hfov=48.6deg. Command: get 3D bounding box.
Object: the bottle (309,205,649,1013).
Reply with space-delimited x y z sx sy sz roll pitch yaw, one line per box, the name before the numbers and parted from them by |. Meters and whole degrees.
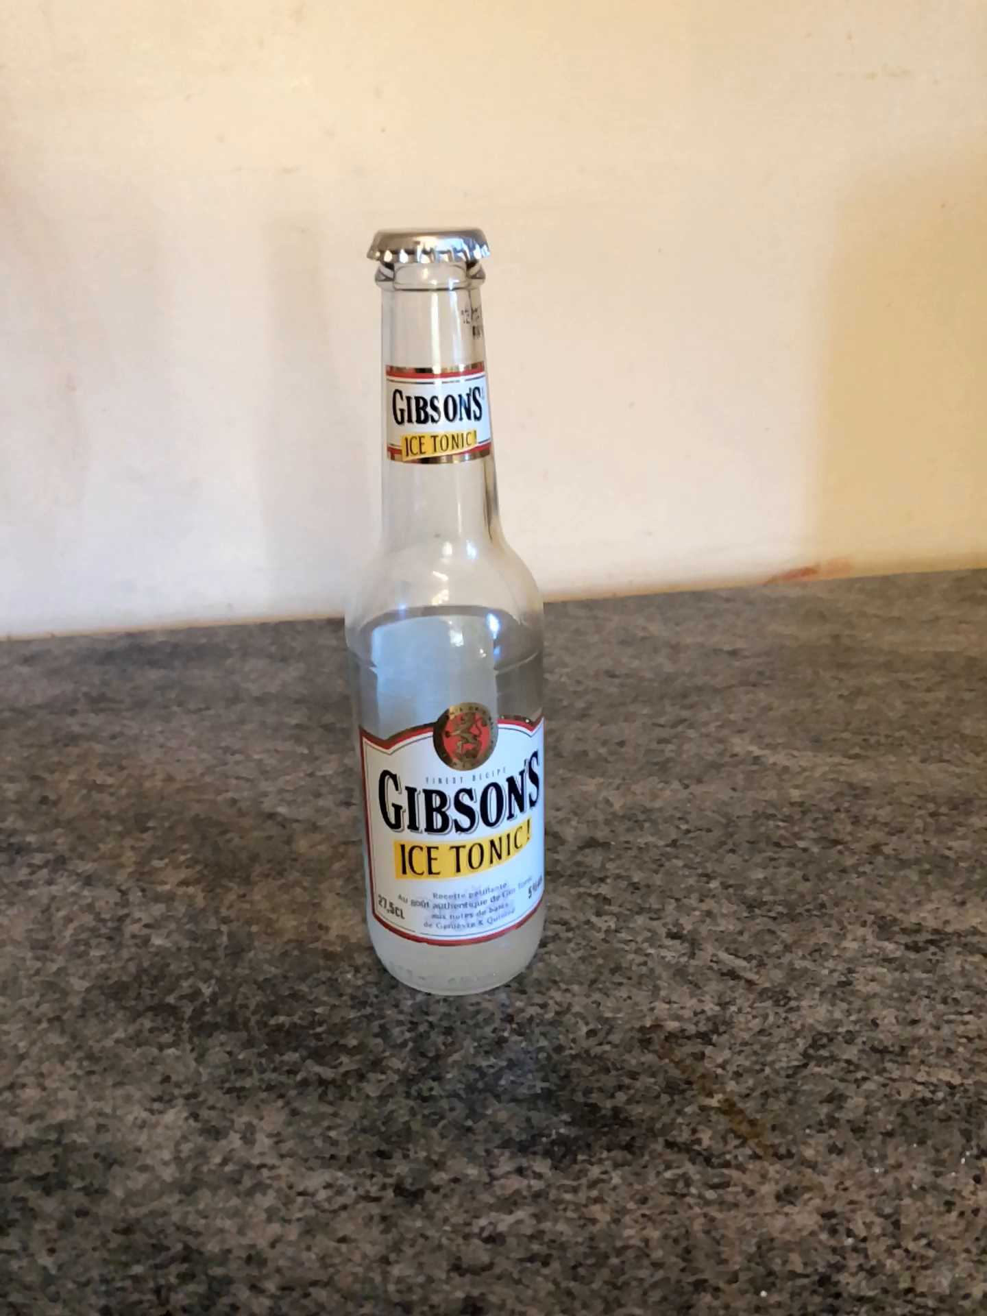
bottle | -0.005 -0.011 0.302 0.070 0.209 0.060 -6 24 -12
